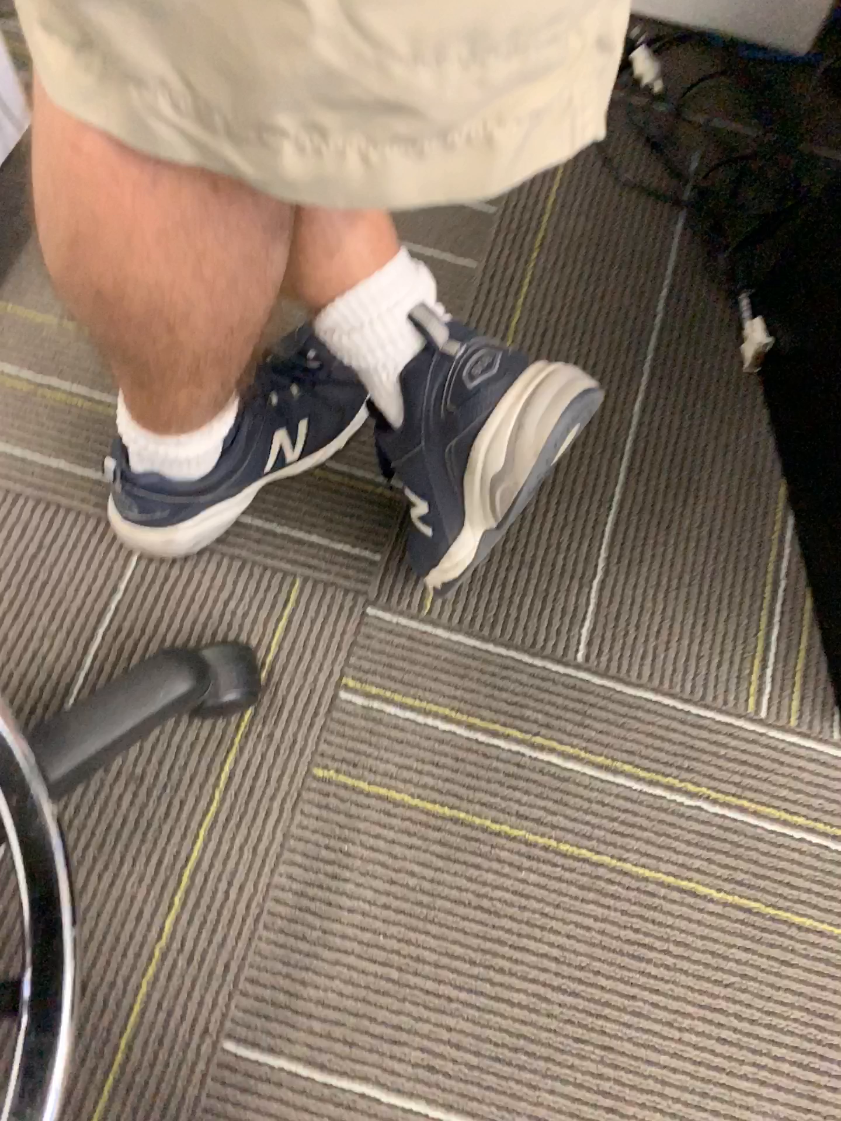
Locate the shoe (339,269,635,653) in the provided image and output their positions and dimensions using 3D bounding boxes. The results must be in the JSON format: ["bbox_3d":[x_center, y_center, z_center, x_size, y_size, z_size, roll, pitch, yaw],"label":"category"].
[{"bbox_3d":[0.028,-0.050,0.644,0.129,0.293,0.122,38,72,8],"label":"shoe"}]

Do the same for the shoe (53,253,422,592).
[{"bbox_3d":[-0.147,-0.124,0.745,0.120,0.077,0.297,43,71,12],"label":"shoe"}]
